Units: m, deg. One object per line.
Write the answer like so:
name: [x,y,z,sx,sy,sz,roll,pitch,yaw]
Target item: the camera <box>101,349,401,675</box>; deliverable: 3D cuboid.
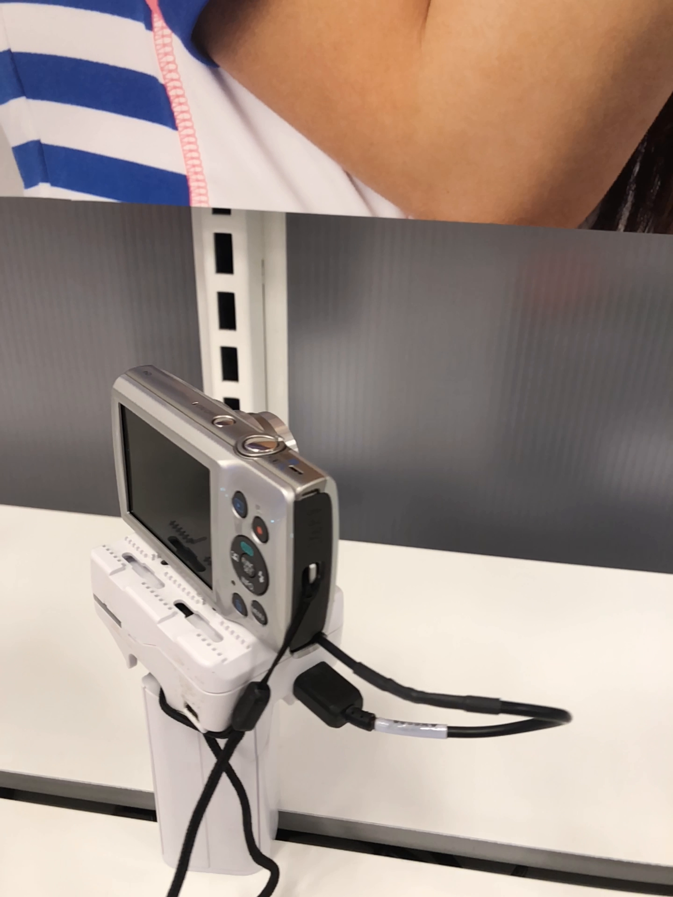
camera: [-0.029,0.013,0.226,0.042,0.055,0.089,-20,34,-36]
